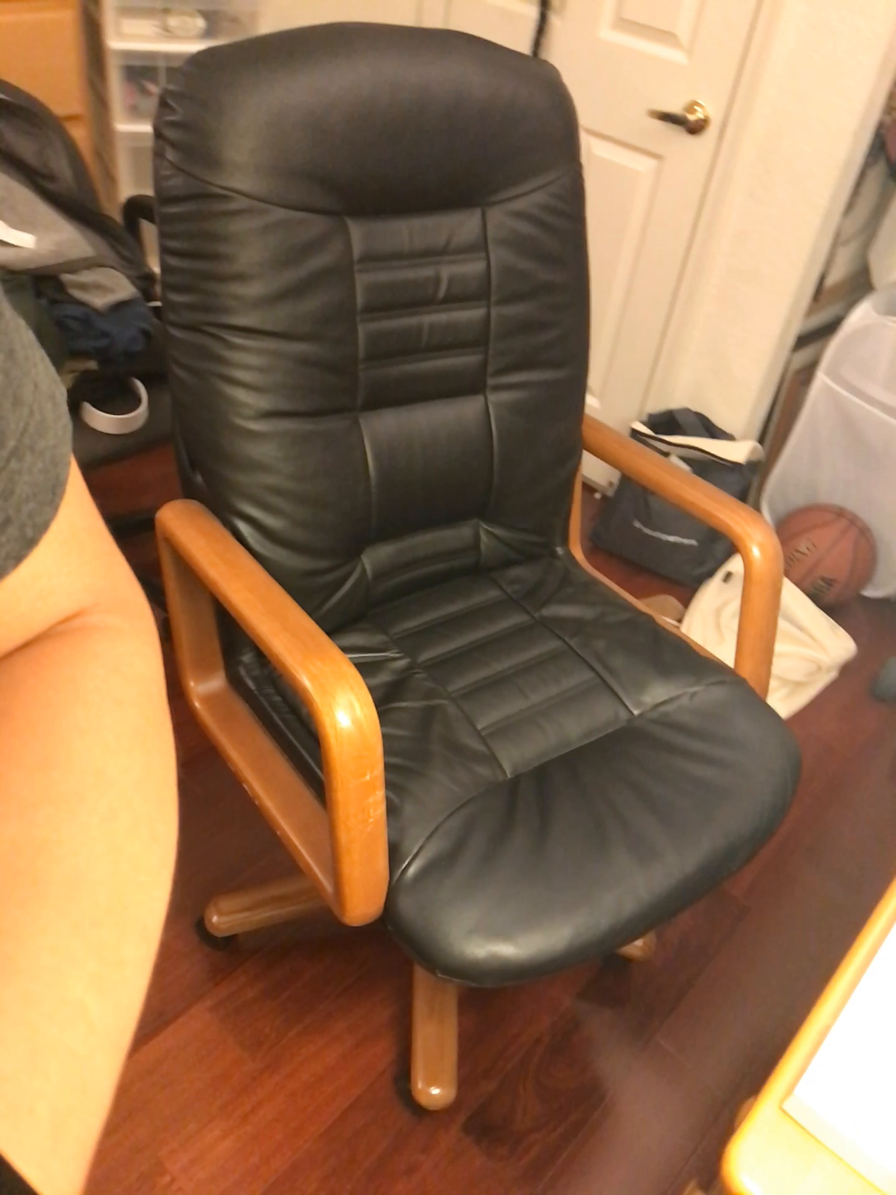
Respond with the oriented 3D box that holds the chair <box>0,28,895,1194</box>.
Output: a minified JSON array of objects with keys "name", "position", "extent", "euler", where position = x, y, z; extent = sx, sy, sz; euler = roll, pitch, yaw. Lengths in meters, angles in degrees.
[{"name":"chair","position":[0.137,0.007,1.273],"extent":[0.994,1.141,0.853],"euler":[-19,48,-30]}]
